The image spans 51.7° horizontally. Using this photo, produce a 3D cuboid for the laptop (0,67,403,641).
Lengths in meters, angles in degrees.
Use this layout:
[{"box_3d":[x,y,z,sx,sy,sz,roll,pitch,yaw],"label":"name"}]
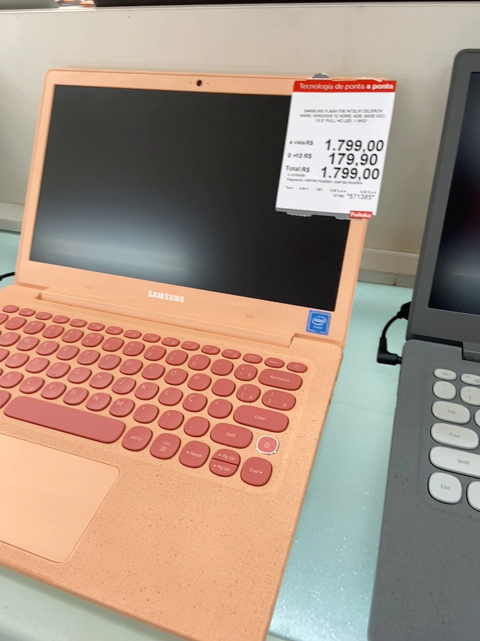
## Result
[{"box_3d":[-0.087,-0.045,0.356,0.329,0.160,0.360,10,42,18],"label":"laptop"}]
